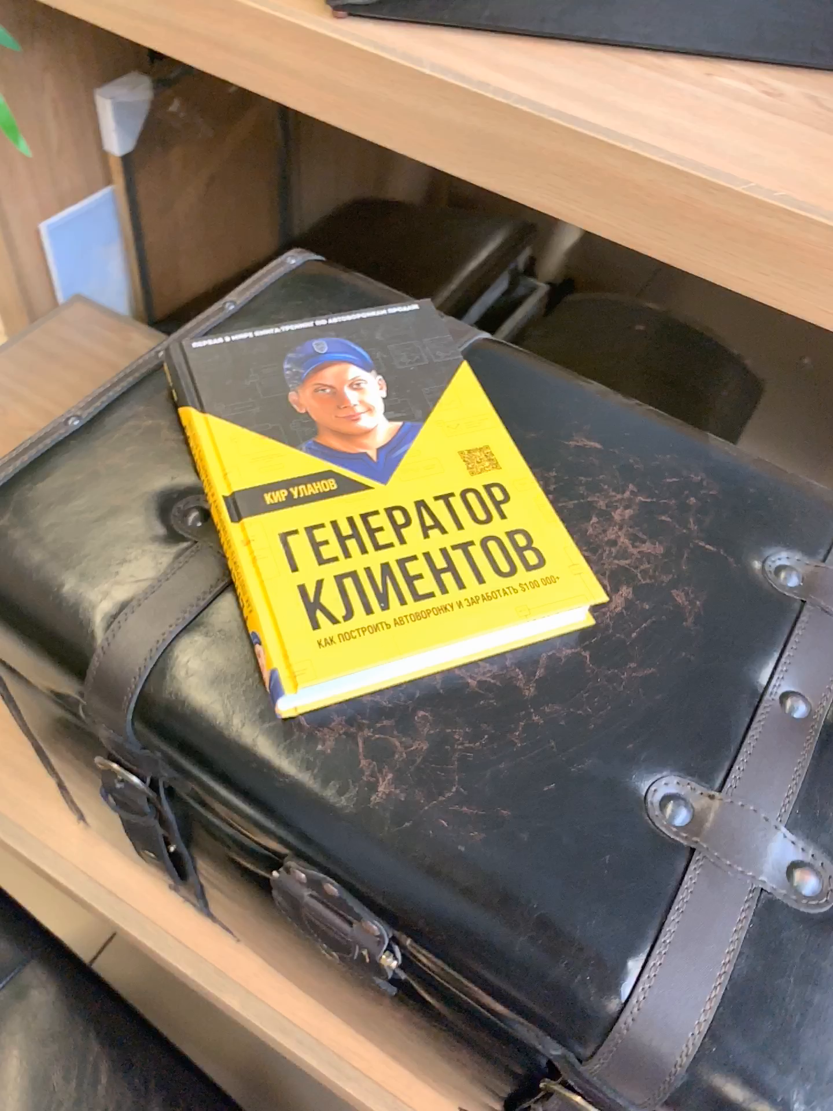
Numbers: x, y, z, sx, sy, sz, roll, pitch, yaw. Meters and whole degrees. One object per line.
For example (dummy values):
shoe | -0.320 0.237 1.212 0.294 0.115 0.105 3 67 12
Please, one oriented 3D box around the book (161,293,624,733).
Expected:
book | -0.025 -0.042 0.456 0.167 0.030 0.243 -15 55 -16
